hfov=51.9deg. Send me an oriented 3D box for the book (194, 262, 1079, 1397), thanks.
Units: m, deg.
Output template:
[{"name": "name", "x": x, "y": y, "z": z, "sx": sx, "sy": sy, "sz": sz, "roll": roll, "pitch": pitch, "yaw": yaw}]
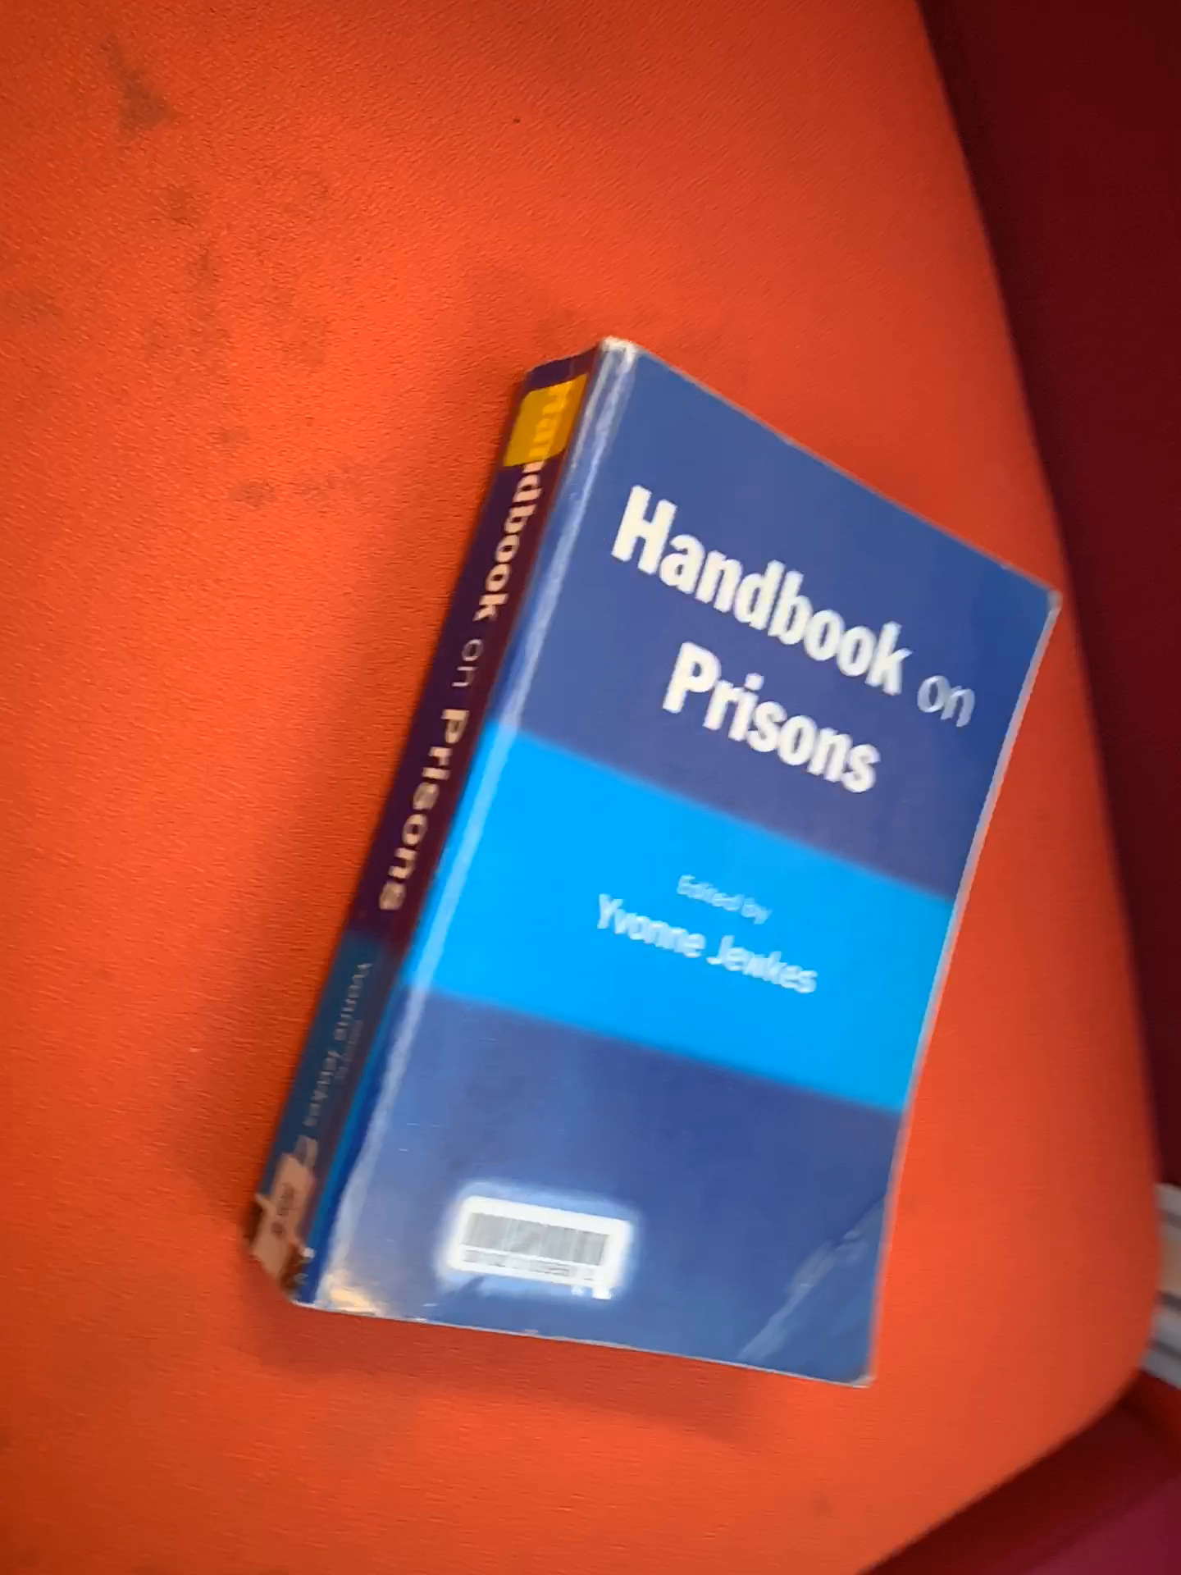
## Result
[{"name": "book", "x": 0.030, "y": 0.024, "z": 0.366, "sx": 0.200, "sy": 0.060, "sz": 0.270, "roll": 22, "pitch": 80, "yaw": -29}]
